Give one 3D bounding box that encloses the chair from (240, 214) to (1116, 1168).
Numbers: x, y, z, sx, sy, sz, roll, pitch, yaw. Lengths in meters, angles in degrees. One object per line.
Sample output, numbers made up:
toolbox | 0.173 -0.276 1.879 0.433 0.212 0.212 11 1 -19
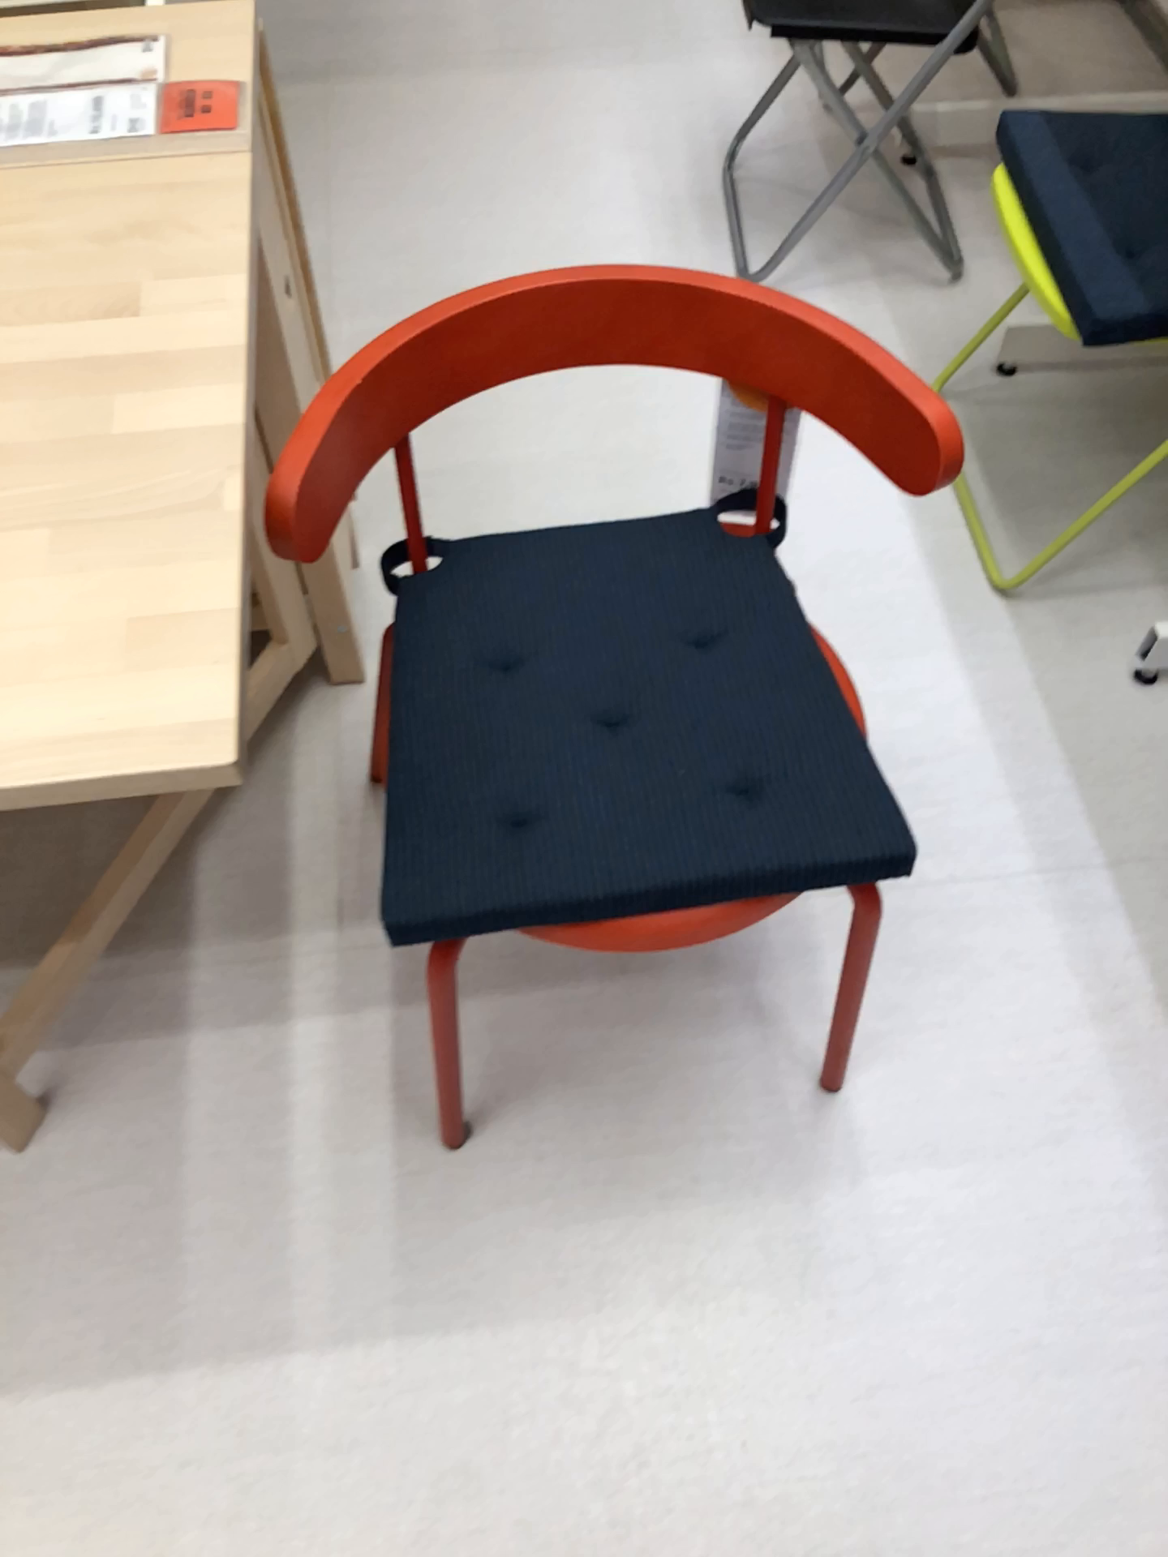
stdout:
chair | 0.025 -0.034 1.175 0.520 0.677 0.502 -7 57 -5
